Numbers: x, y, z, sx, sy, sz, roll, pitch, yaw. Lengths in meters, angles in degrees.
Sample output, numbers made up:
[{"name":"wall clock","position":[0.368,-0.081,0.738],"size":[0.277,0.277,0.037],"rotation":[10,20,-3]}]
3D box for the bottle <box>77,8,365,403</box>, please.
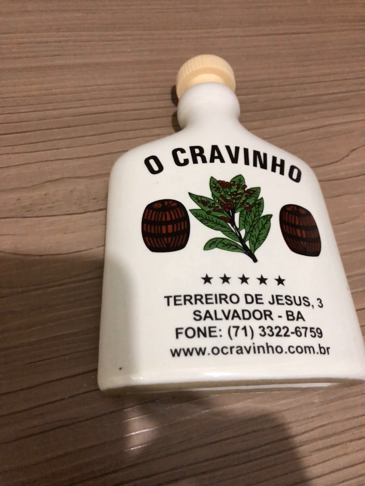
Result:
[{"name":"bottle","position":[0.013,-0.023,0.173],"size":[0.100,0.040,0.160],"rotation":[0,64,-9]}]
